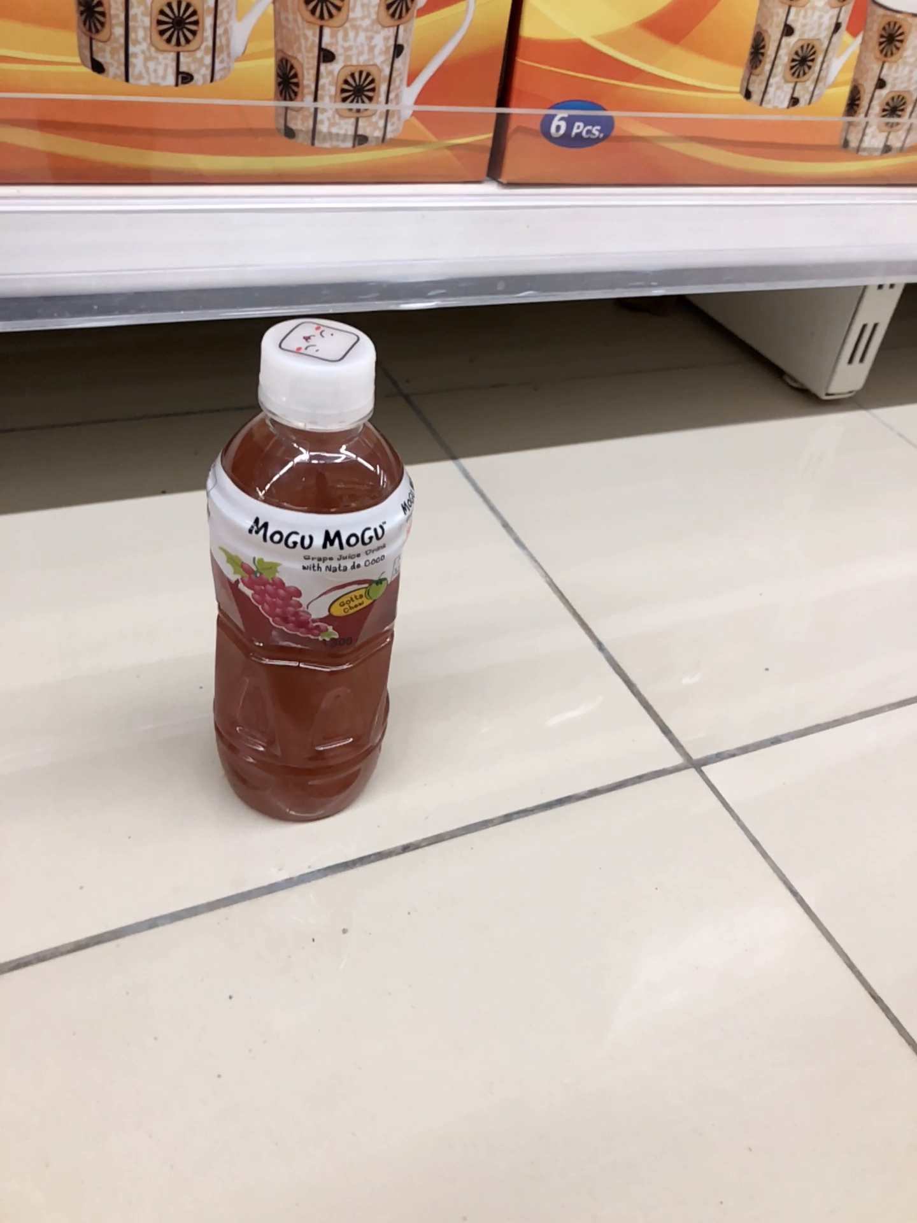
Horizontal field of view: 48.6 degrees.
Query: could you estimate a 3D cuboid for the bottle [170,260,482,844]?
[{"bbox_3d":[-0.042,-0.010,0.306,0.070,0.159,0.070,6,38,-5],"label":"bottle"}]
